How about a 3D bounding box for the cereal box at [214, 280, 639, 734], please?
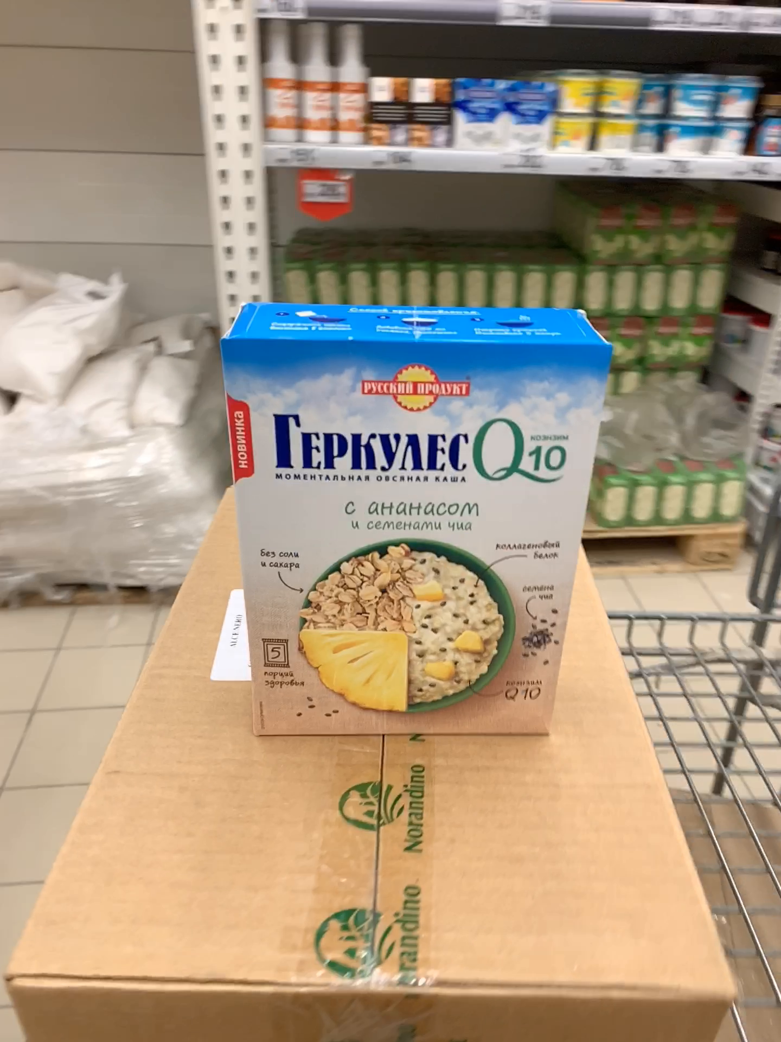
[{"bbox_3d":[0.010,0.002,0.355,0.150,0.199,0.050,0,30,-2],"label":"cereal box"}]
